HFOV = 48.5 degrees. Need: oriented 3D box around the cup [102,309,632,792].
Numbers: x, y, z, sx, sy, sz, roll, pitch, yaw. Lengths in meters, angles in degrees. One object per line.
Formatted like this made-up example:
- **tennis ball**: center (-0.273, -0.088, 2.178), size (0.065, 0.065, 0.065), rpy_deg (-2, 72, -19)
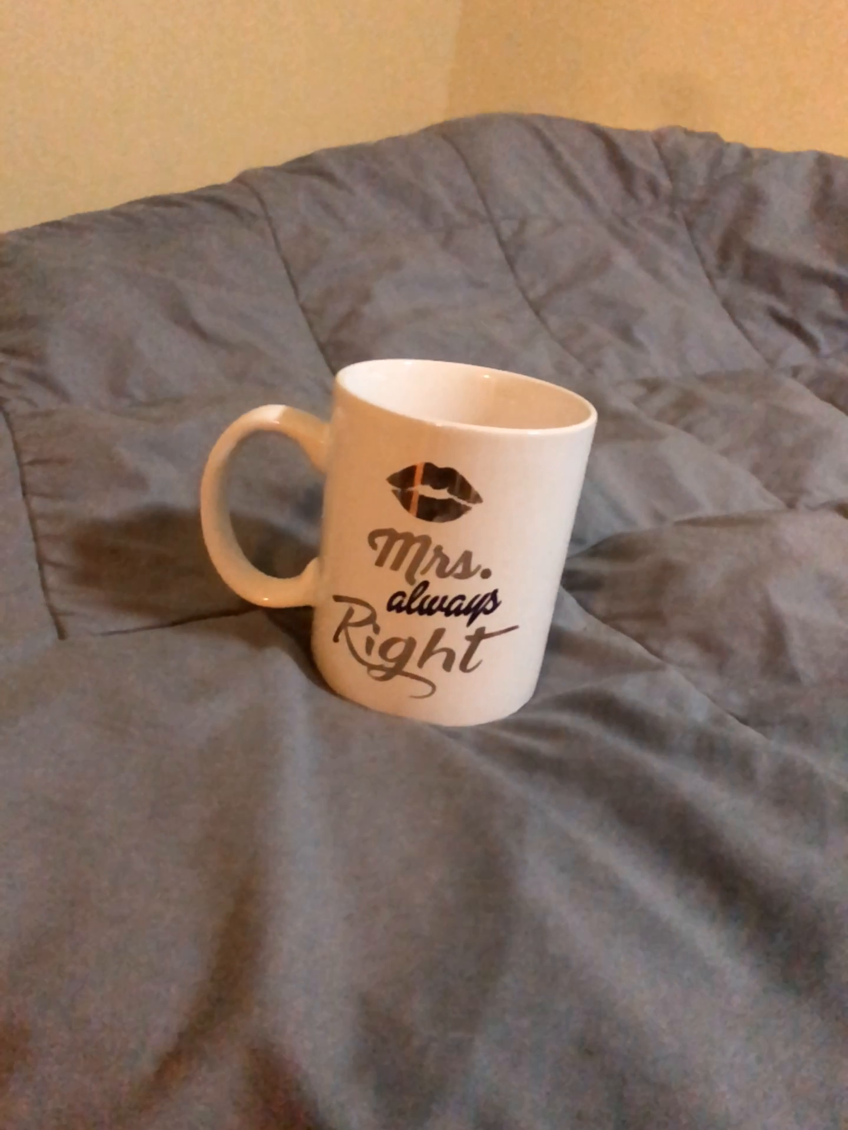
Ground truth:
- **cup**: center (-0.016, -0.014, 0.332), size (0.150, 0.110, 0.110), rpy_deg (11, 25, 5)
